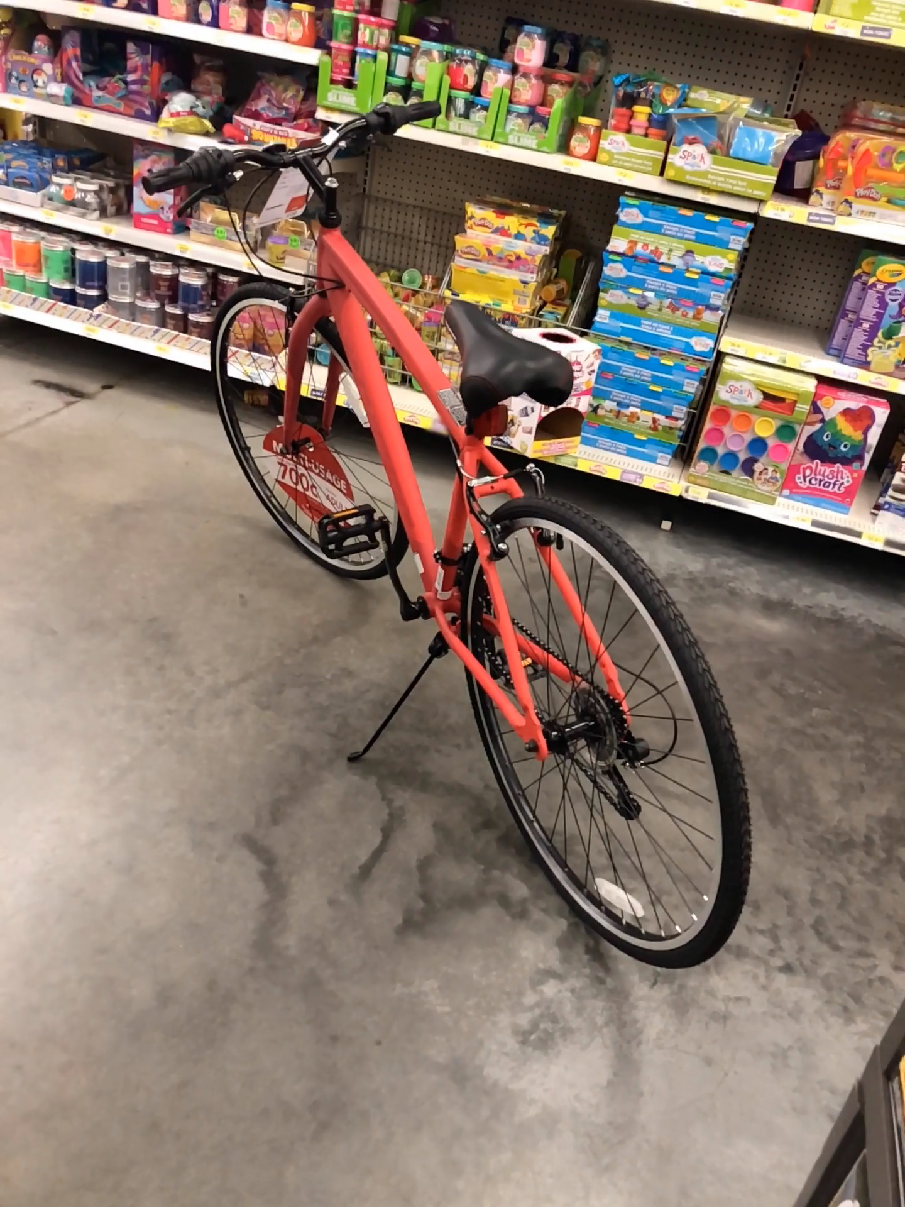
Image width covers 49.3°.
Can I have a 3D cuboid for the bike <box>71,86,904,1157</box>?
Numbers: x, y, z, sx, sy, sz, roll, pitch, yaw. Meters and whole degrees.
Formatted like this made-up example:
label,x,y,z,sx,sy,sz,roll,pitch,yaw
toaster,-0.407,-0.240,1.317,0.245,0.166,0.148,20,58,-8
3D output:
label,x,y,z,sx,sy,sz,roll,pitch,yaw
bike,-0.110,-0.216,1.693,0.614,1.001,1.694,-10,34,-31
